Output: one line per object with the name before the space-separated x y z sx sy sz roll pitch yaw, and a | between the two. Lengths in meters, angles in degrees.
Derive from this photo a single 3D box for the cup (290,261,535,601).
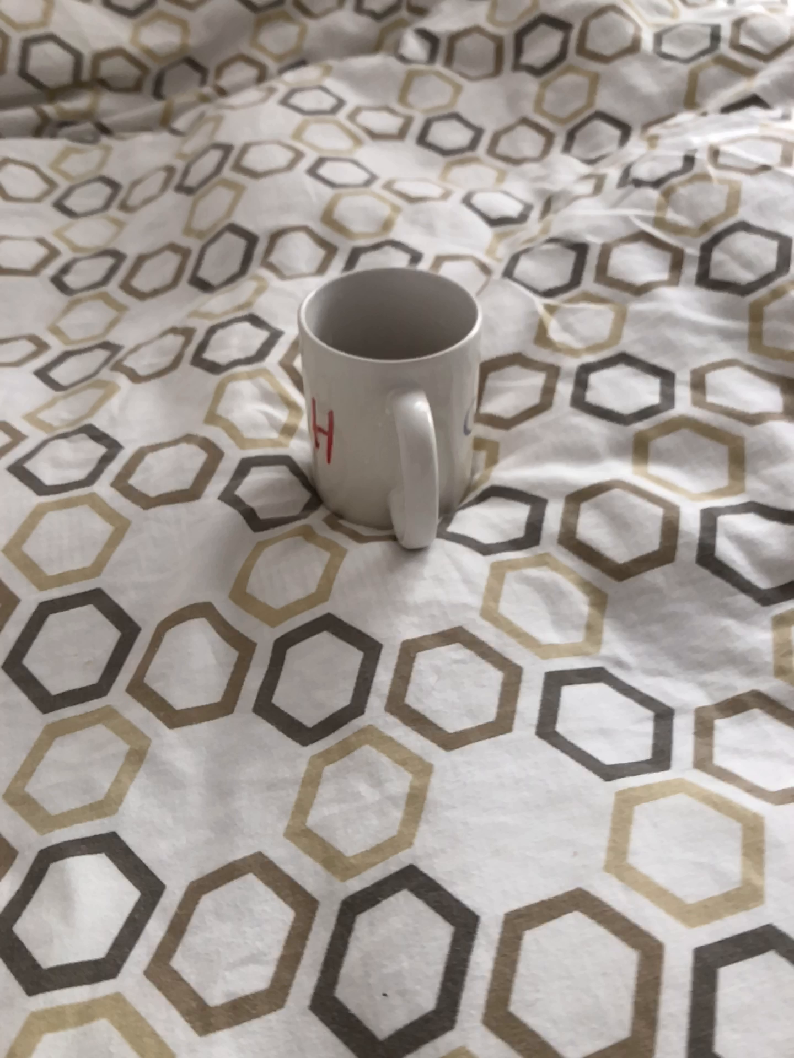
cup | 0.002 -0.048 0.405 0.086 0.087 0.126 -6 46 -5
